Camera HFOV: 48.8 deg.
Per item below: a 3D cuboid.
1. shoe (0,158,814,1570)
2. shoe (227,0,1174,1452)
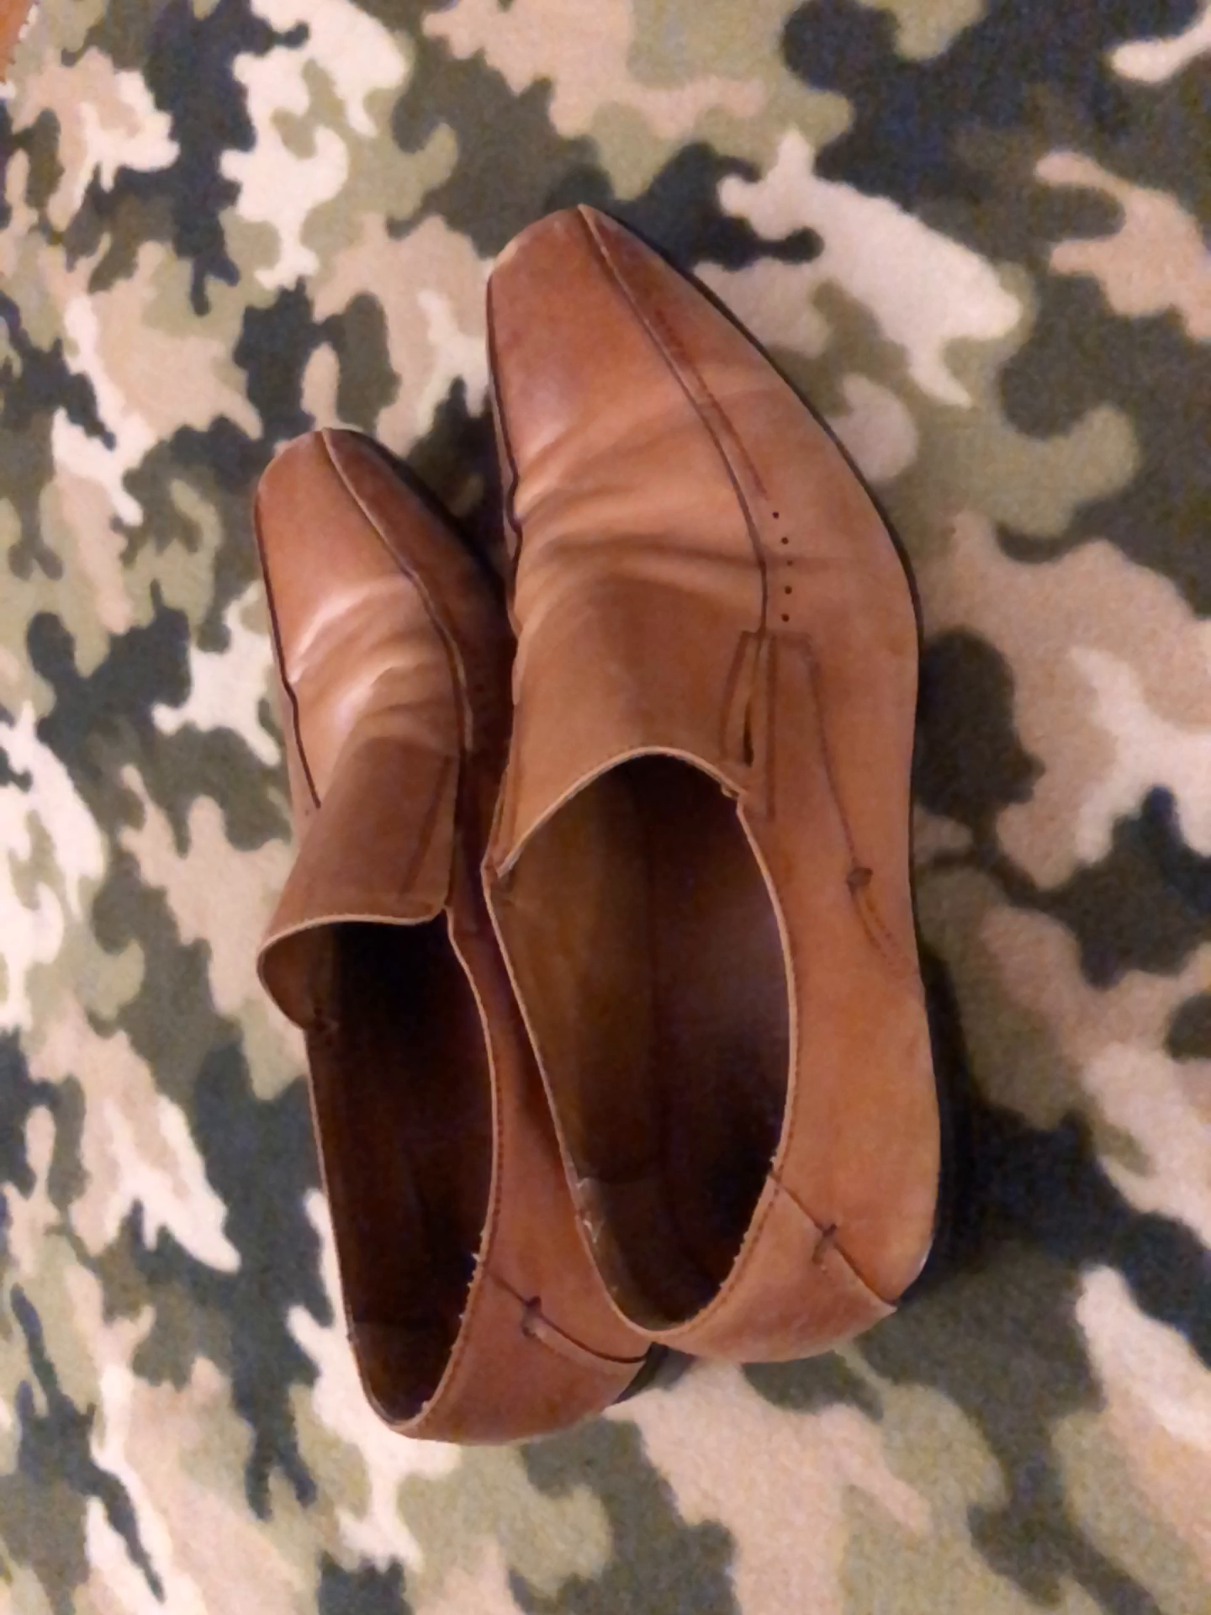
[{"bbox_3d":[-0.070,0.006,0.367,0.110,0.119,0.321,-29,68,30],"label":"shoe"},{"bbox_3d":[0.014,-0.039,0.318,0.110,0.119,0.321,-23,71,32],"label":"shoe"}]
